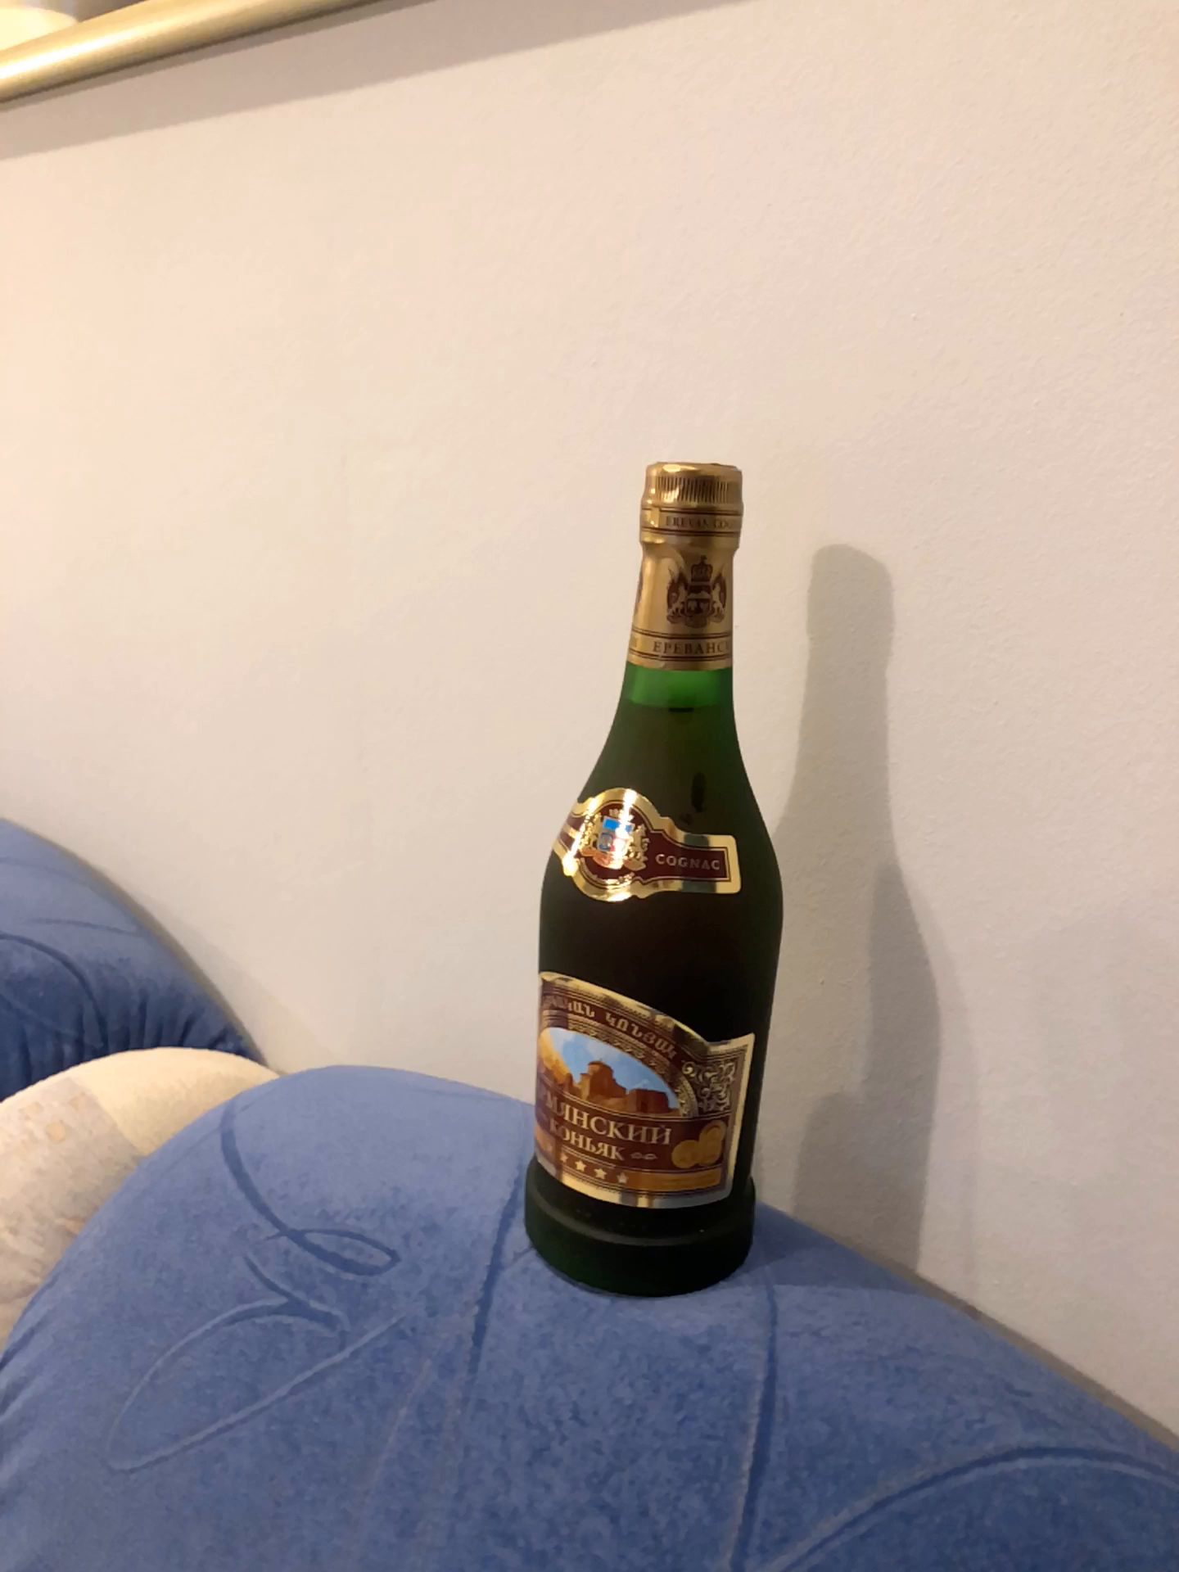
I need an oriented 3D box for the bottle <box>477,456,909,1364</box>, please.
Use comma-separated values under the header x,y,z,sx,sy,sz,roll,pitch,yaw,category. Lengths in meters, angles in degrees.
x,y,z,sx,sy,sz,roll,pitch,yaw,category
0.027,0.028,0.390,0.090,0.243,0.080,11,17,34,bottle
